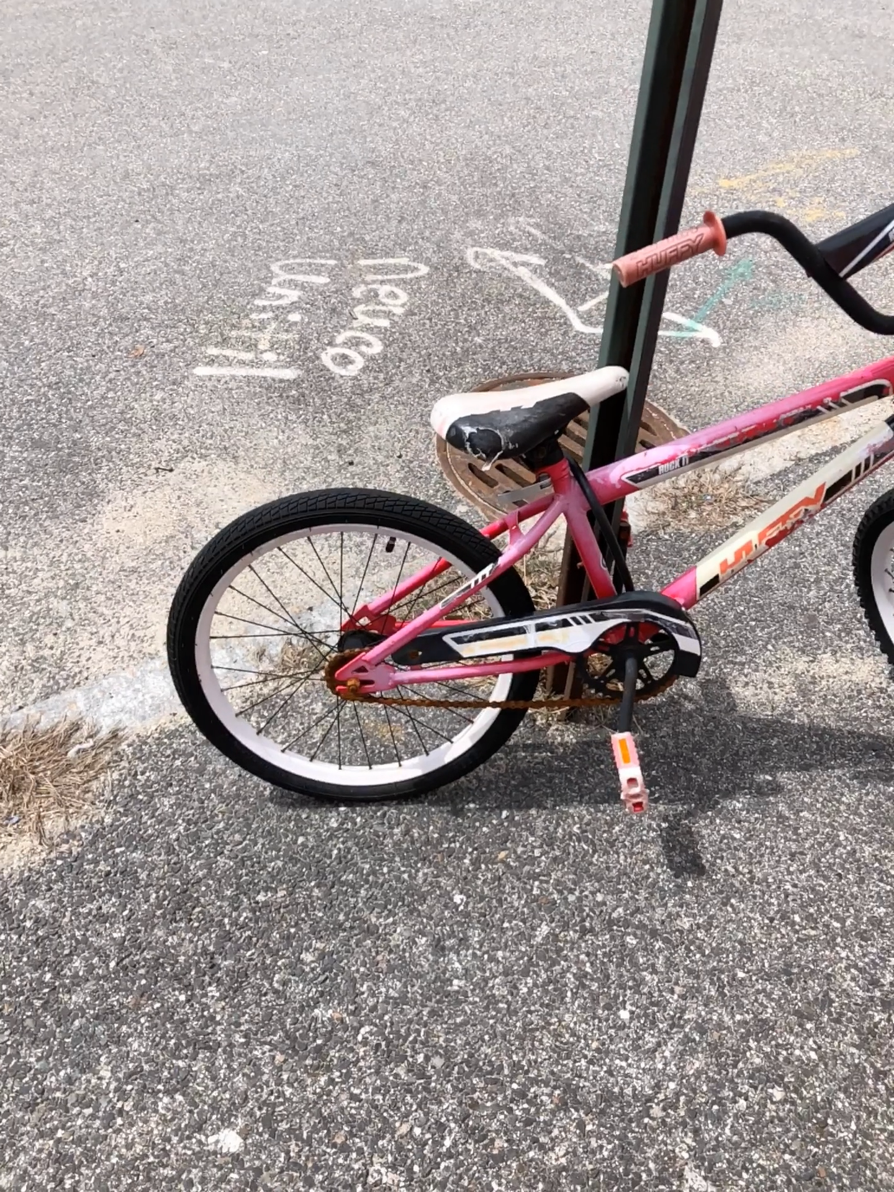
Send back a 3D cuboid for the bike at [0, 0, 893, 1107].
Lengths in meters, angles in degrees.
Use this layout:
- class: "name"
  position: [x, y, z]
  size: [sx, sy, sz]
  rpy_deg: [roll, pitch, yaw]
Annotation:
- class: "bike"
  position: [0.237, -0.089, 1.027]
  size: [1.175, 0.887, 0.700]
  rpy_deg: [3, 45, 3]
